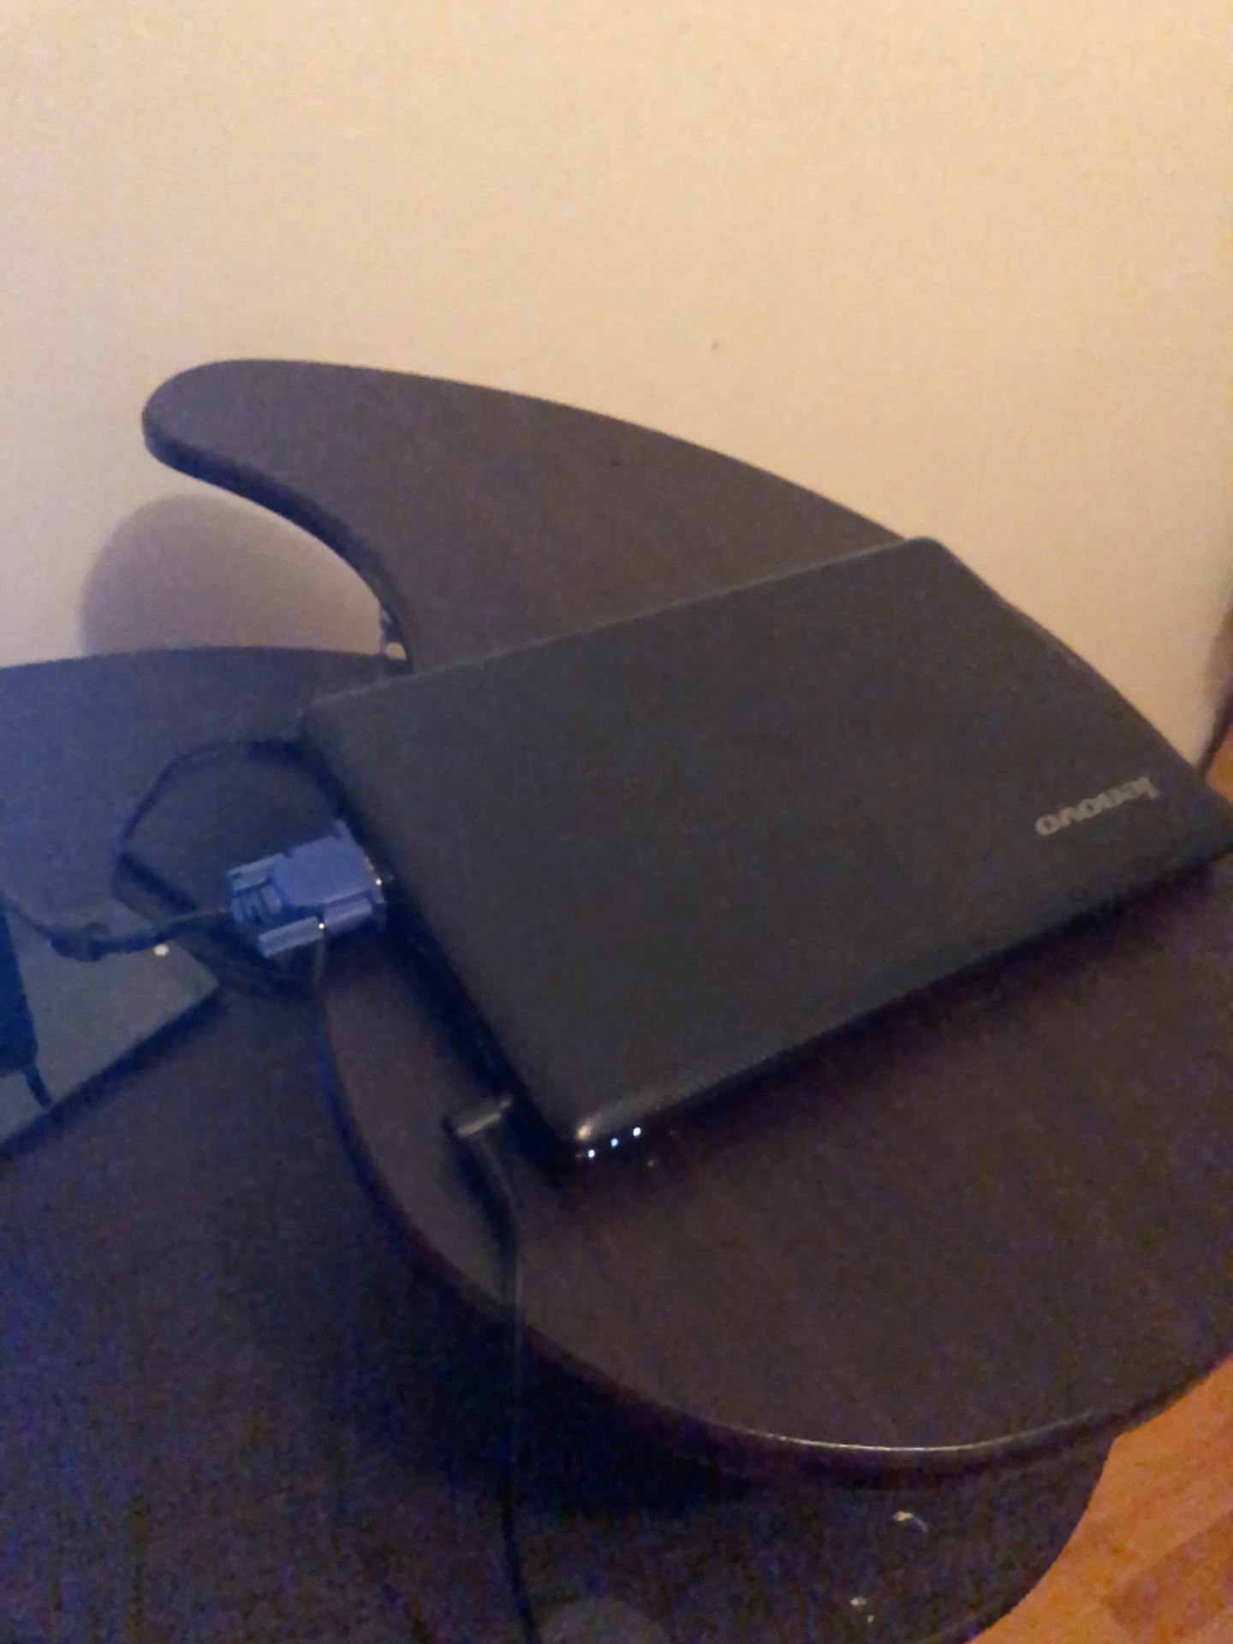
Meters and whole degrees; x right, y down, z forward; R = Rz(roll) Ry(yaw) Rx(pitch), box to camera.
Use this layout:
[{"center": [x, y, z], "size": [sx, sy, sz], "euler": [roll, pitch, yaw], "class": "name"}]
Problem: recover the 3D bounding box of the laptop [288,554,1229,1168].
[{"center": [0.048, -0.010, 0.452], "size": [0.259, 0.008, 0.172], "euler": [-20, 52, -25], "class": "laptop"}]
